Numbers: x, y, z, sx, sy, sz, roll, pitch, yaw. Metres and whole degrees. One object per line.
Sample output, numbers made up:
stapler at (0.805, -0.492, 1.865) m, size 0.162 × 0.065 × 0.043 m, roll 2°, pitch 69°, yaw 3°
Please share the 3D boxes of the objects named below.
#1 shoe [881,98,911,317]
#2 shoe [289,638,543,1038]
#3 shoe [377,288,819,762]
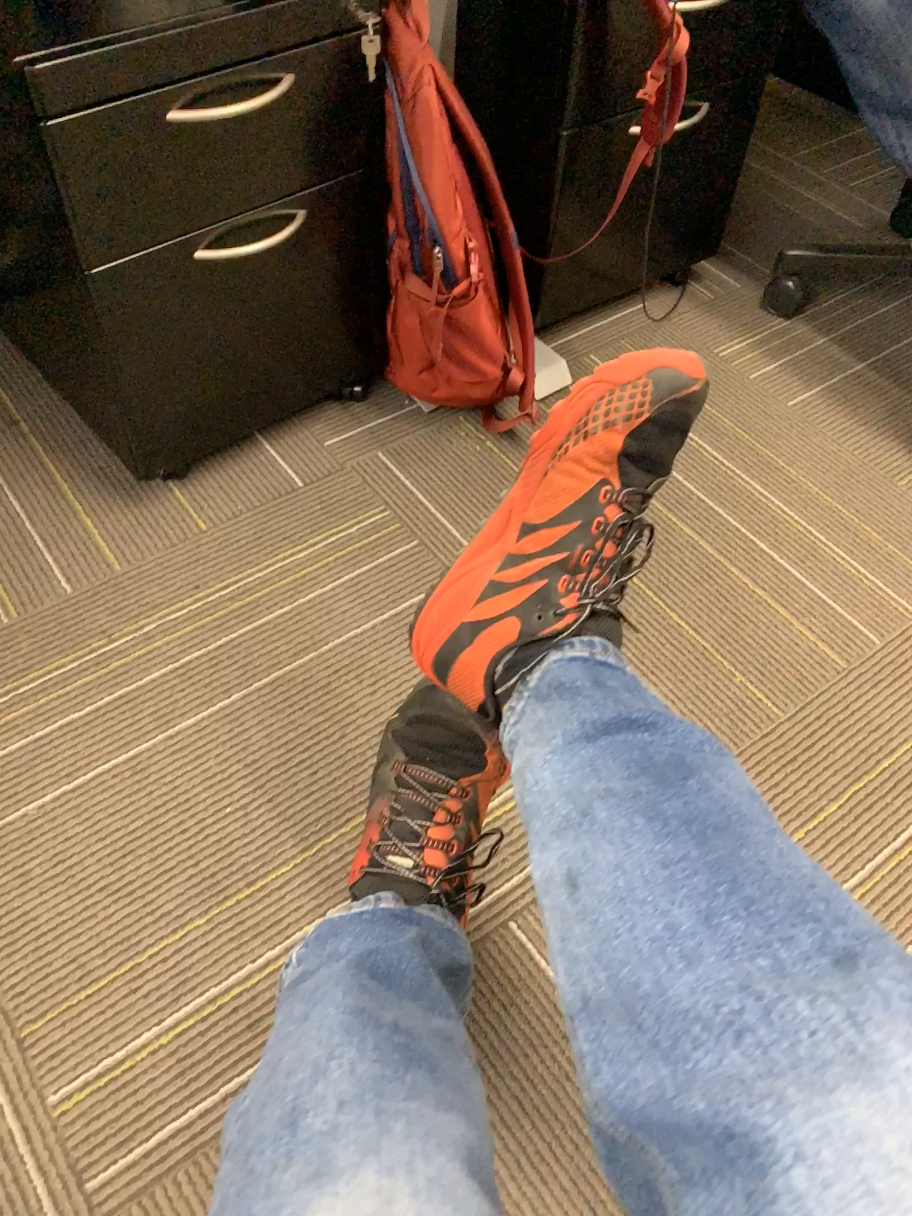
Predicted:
shoe at (0.943, -0.675, 1.619) m, size 0.155 × 0.356 × 0.164 m, roll -32°, pitch 92°, yaw -8°
shoe at (-0.028, 0.186, 0.815) m, size 0.129 × 0.135 × 0.289 m, roll 15°, pitch 93°, yaw 8°
shoe at (0.094, -0.053, 0.692) m, size 0.143 × 0.303 × 0.118 m, roll 46°, pitch 28°, yaw 22°
